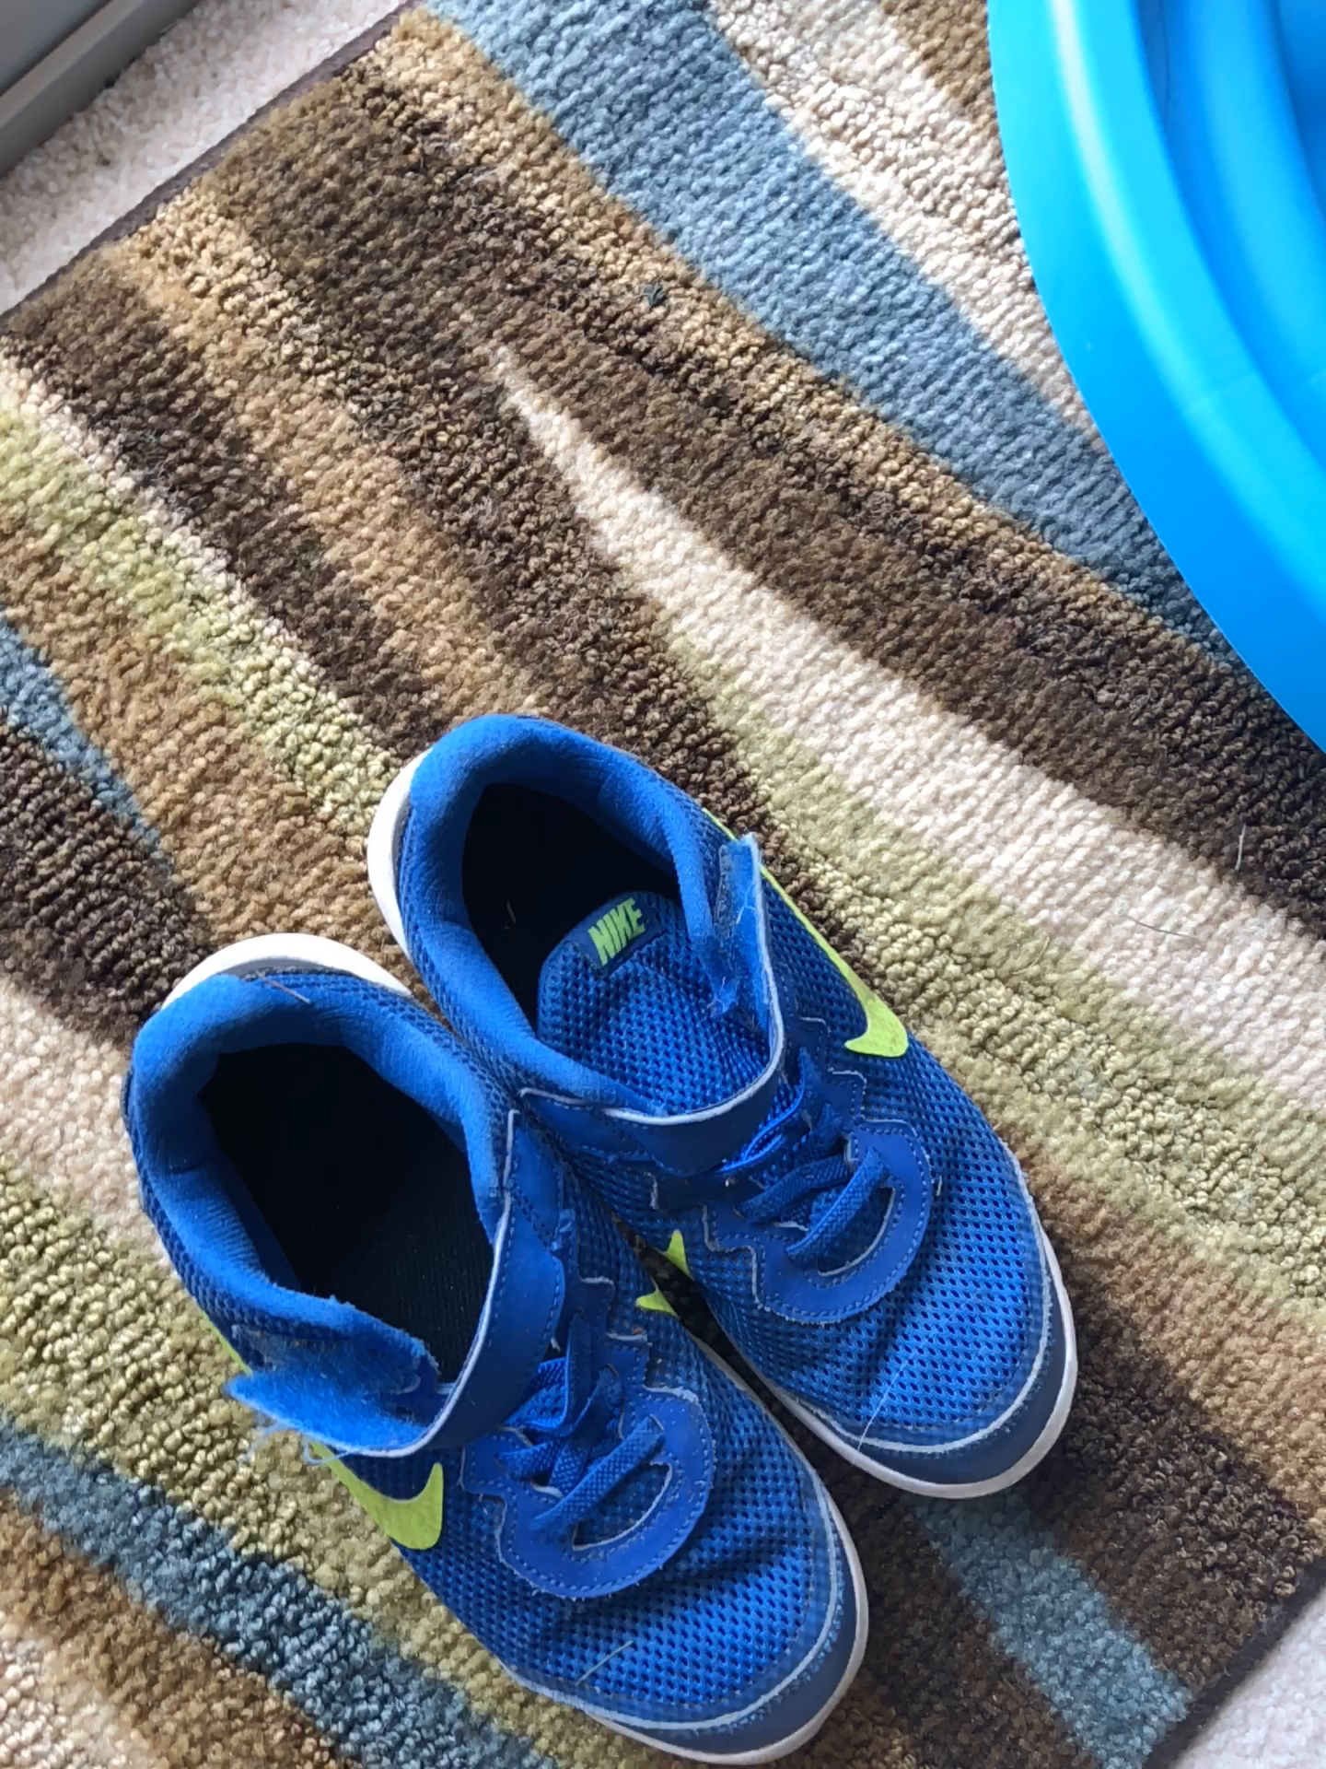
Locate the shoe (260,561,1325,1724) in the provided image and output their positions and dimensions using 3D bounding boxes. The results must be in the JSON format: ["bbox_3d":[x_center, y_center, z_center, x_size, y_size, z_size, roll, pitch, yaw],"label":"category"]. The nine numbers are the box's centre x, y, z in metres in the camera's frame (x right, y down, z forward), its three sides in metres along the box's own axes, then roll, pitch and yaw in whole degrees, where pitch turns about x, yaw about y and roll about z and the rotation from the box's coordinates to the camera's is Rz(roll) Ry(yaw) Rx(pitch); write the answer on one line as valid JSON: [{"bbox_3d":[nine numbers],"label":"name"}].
[{"bbox_3d":[0.028,0.054,0.342,0.103,0.075,0.230,-42,88,-11],"label":"shoe"}]

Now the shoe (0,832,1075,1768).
[{"bbox_3d":[-0.034,0.116,0.326,0.102,0.075,0.233,-39,87,-11],"label":"shoe"}]
